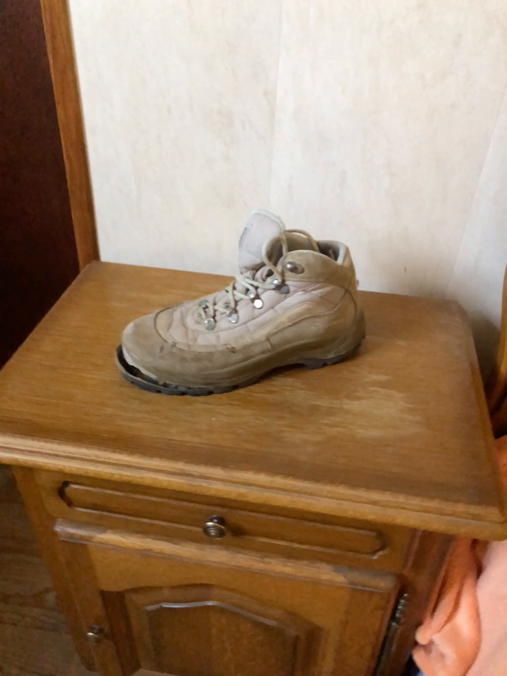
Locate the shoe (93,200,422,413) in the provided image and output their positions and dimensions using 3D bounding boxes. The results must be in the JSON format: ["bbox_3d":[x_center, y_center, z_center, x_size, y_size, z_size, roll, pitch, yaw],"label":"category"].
[{"bbox_3d":[-0.004,-0.041,0.573,0.291,0.139,0.131,-7,37,-14],"label":"shoe"}]
